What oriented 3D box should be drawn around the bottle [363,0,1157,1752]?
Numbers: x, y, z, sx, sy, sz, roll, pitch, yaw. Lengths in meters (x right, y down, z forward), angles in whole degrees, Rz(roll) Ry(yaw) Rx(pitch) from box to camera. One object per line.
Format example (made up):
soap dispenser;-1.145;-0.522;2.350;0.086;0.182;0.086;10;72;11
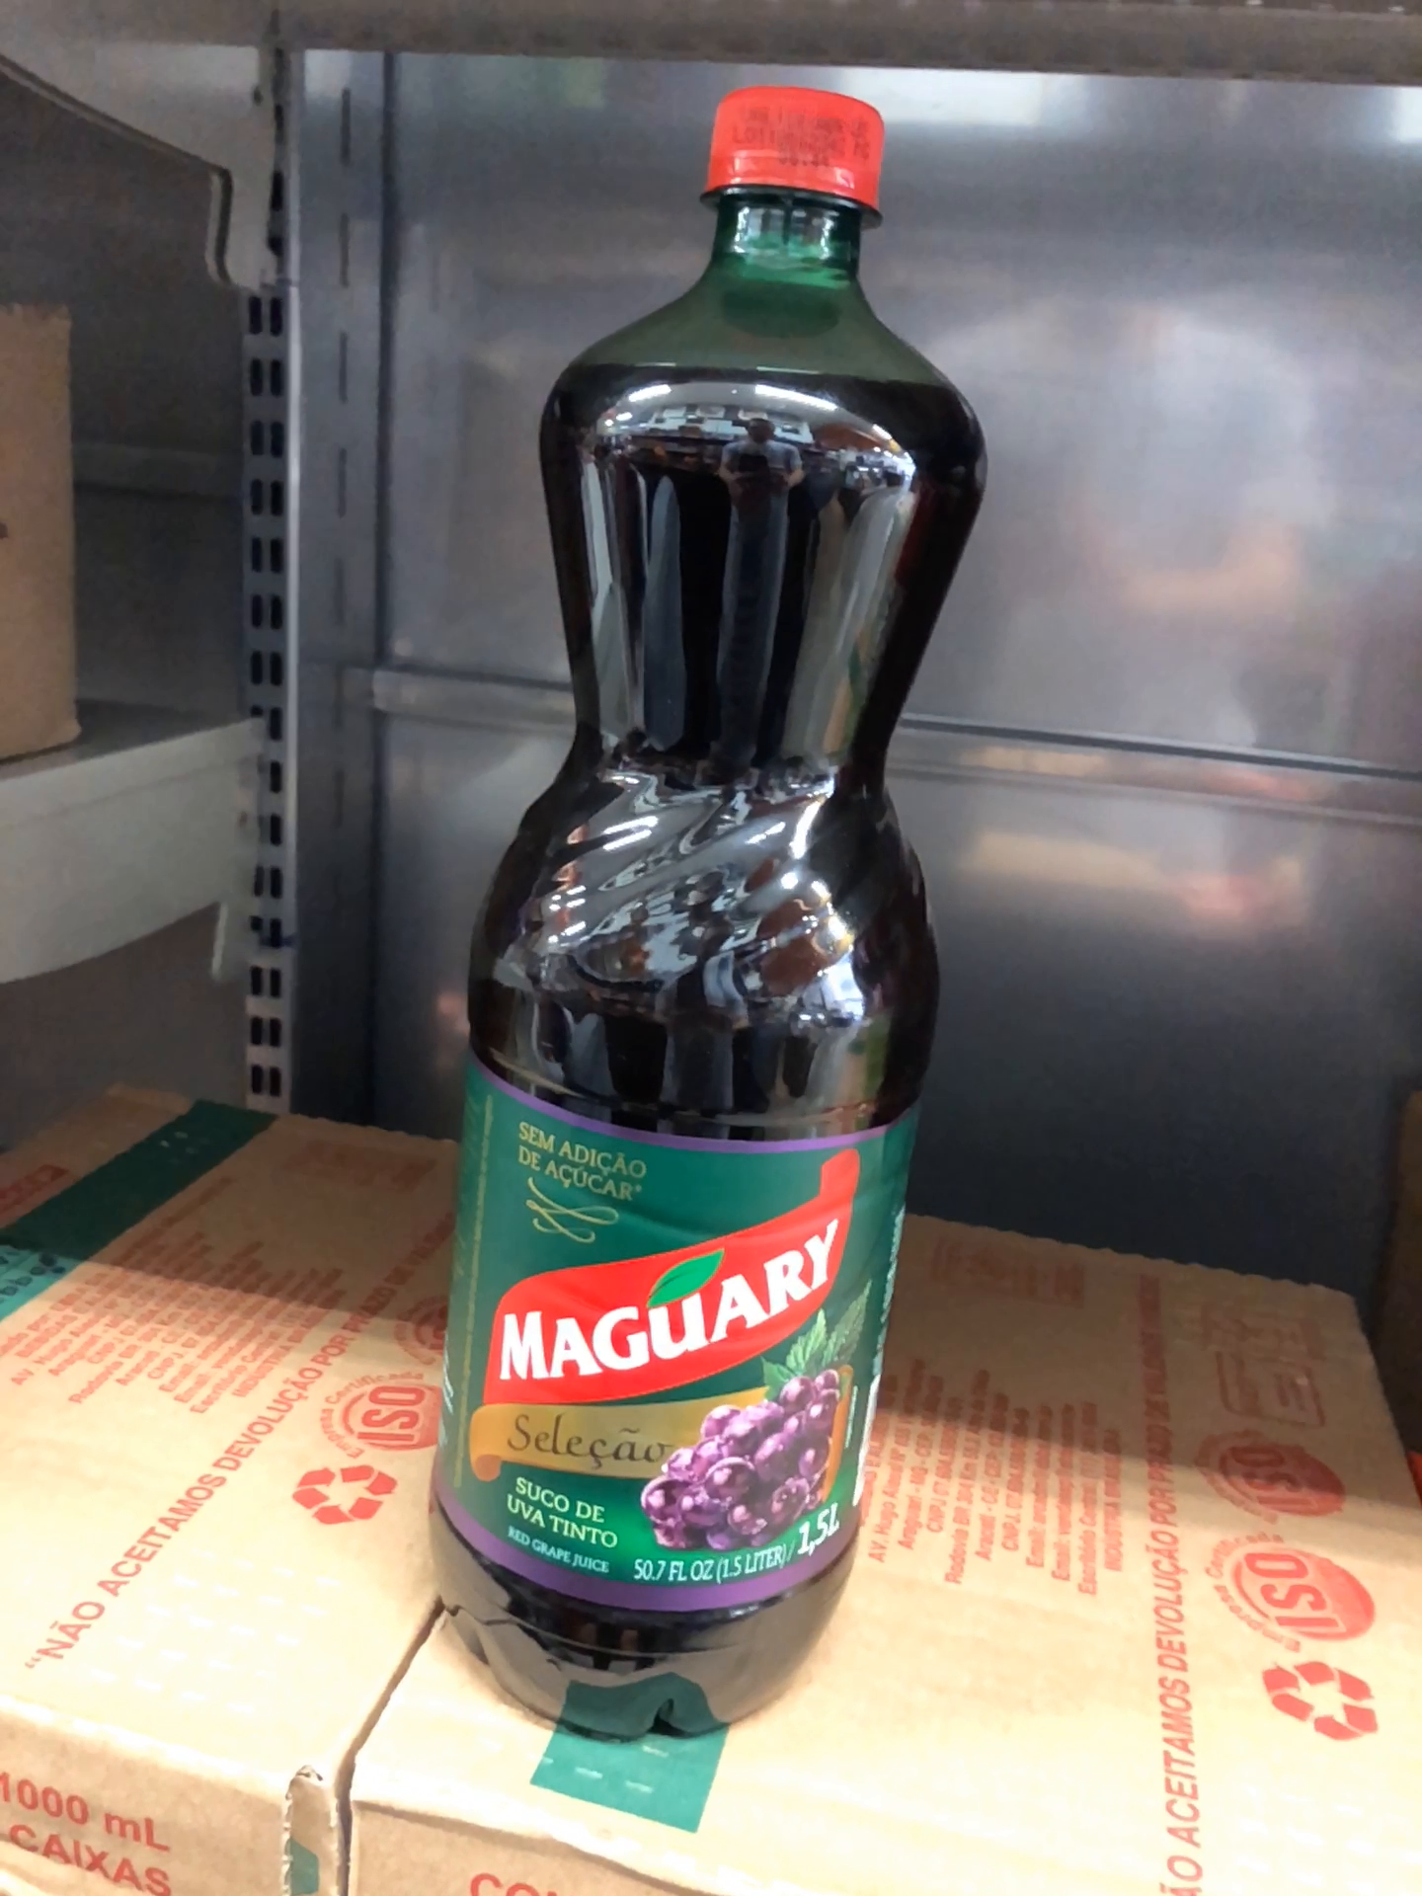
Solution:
bottle;-0.003;-0.001;0.297;0.100;0.289;0.080;4;15;-5
